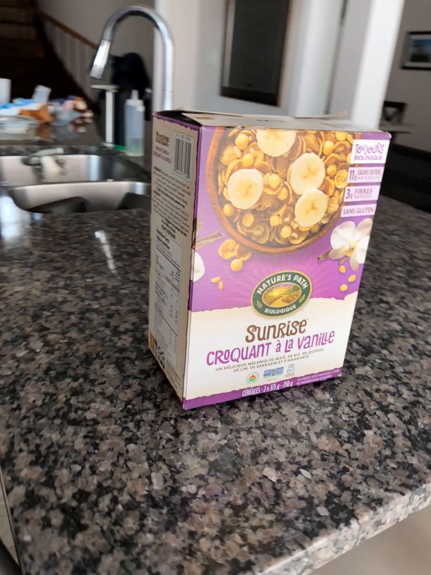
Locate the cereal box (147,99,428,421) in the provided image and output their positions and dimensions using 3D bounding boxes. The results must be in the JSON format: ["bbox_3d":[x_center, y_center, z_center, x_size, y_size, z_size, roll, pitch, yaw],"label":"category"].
[{"bbox_3d":[0.046,-0.031,0.414,0.180,0.229,0.110,-7,27,-24],"label":"cereal box"}]
